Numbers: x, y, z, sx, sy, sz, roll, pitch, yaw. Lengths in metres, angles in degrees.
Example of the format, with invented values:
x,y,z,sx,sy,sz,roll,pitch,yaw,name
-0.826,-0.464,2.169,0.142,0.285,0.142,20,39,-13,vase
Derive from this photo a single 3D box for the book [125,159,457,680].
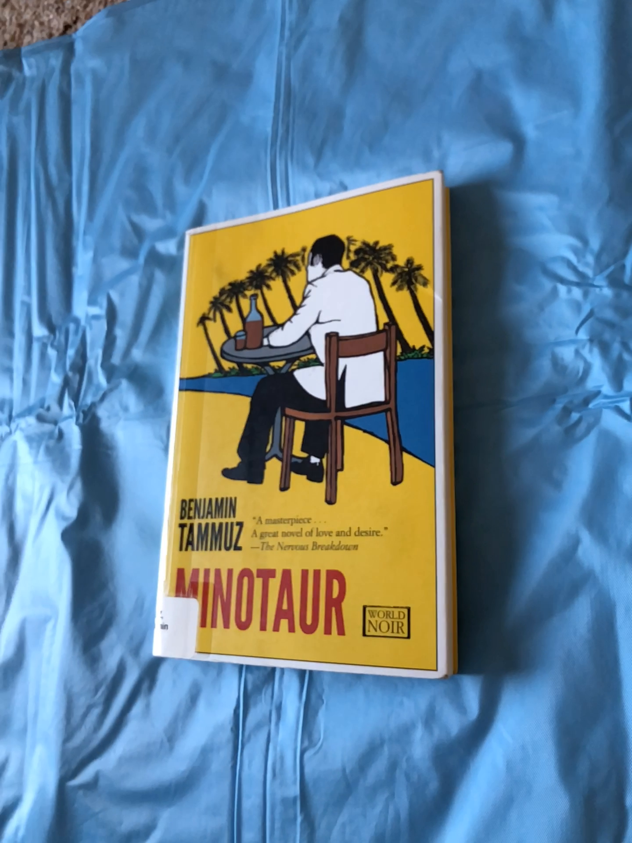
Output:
x,y,z,sx,sy,sz,roll,pitch,yaw,name
-0.011,-0.002,0.321,0.142,0.027,0.212,-5,74,25,book
